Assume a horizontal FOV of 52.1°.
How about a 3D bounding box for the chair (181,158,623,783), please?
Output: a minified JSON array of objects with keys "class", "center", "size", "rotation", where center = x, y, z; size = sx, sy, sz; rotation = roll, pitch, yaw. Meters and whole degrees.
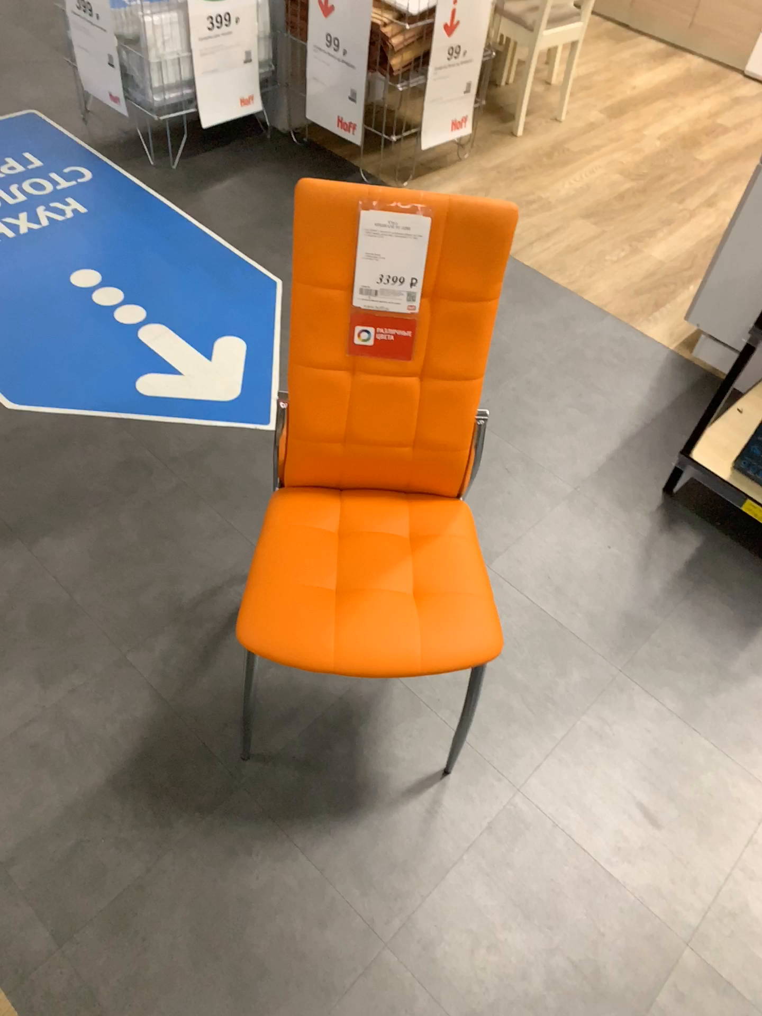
[{"class":"chair","center":[-0.017,0.020,1.417],"size":[0.490,1.015,0.542],"rotation":[5,49,-3]}]
